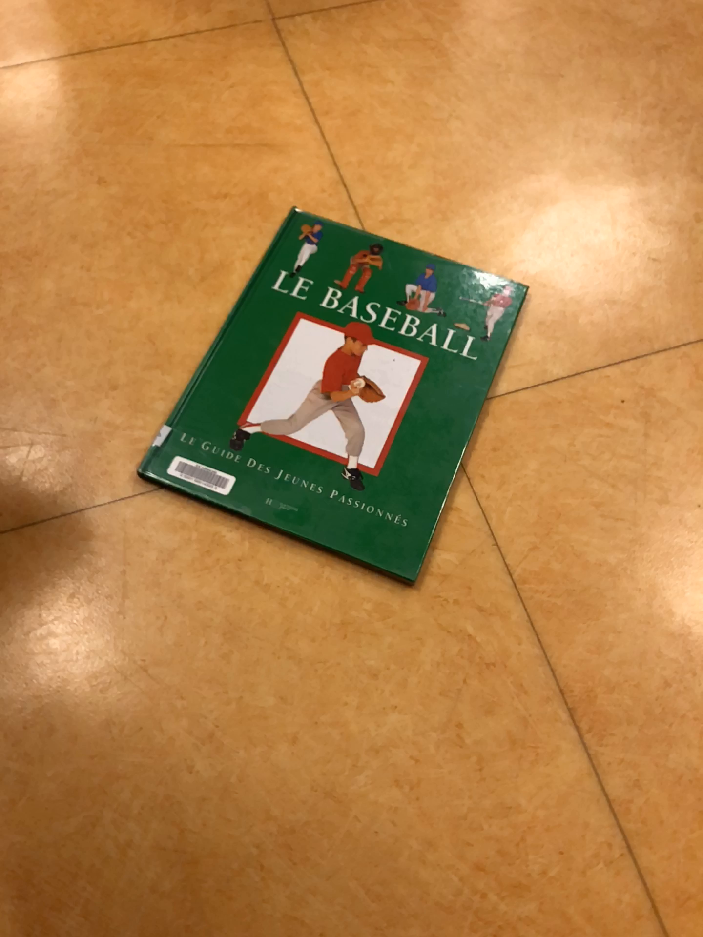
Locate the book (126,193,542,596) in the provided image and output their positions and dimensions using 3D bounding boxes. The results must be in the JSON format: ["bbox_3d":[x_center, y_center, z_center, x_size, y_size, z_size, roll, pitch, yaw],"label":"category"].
[{"bbox_3d":[-0.002,-0.073,0.589,0.219,0.020,0.281,21,65,8],"label":"book"}]
